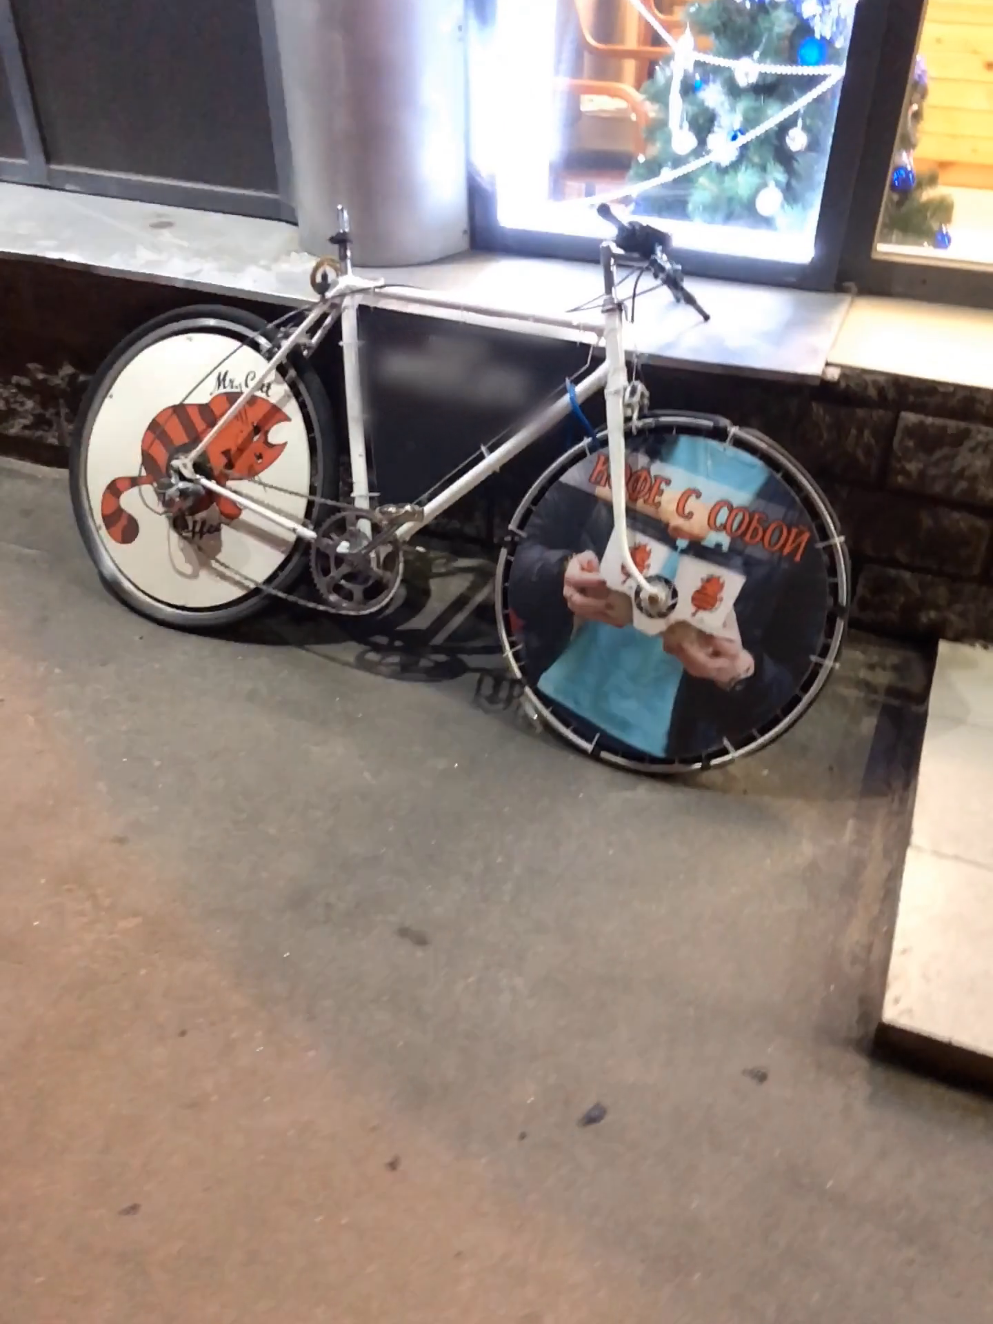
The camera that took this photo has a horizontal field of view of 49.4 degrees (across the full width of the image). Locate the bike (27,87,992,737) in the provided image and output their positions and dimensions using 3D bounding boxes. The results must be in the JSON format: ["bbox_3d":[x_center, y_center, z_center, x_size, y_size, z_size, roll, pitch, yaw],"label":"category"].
[{"bbox_3d":[0.008,-0.562,2.181,1.586,0.917,0.572,15,40,20],"label":"bike"}]
